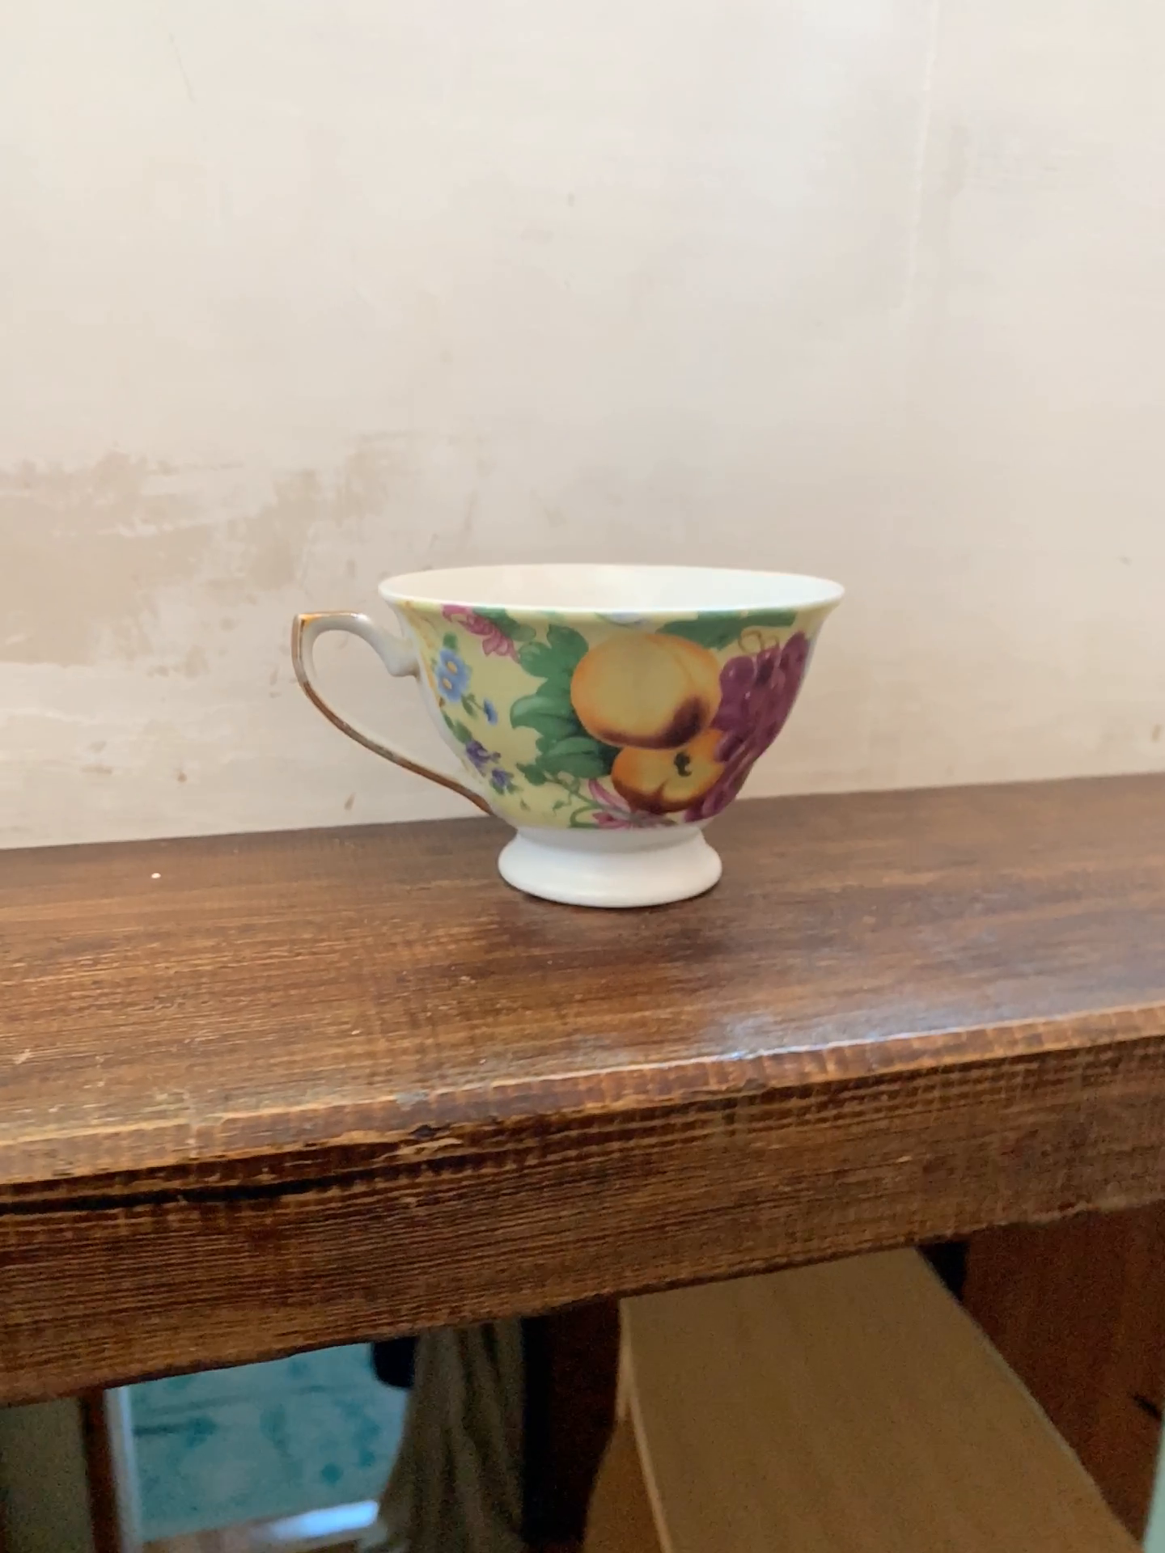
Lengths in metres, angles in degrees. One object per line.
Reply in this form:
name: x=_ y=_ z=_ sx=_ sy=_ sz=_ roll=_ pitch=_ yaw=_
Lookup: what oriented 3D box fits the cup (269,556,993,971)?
cup: x=0.002 y=-0.012 z=0.253 sx=0.123 sy=0.058 sz=0.091 roll=-4 pitch=15 yaw=-17
